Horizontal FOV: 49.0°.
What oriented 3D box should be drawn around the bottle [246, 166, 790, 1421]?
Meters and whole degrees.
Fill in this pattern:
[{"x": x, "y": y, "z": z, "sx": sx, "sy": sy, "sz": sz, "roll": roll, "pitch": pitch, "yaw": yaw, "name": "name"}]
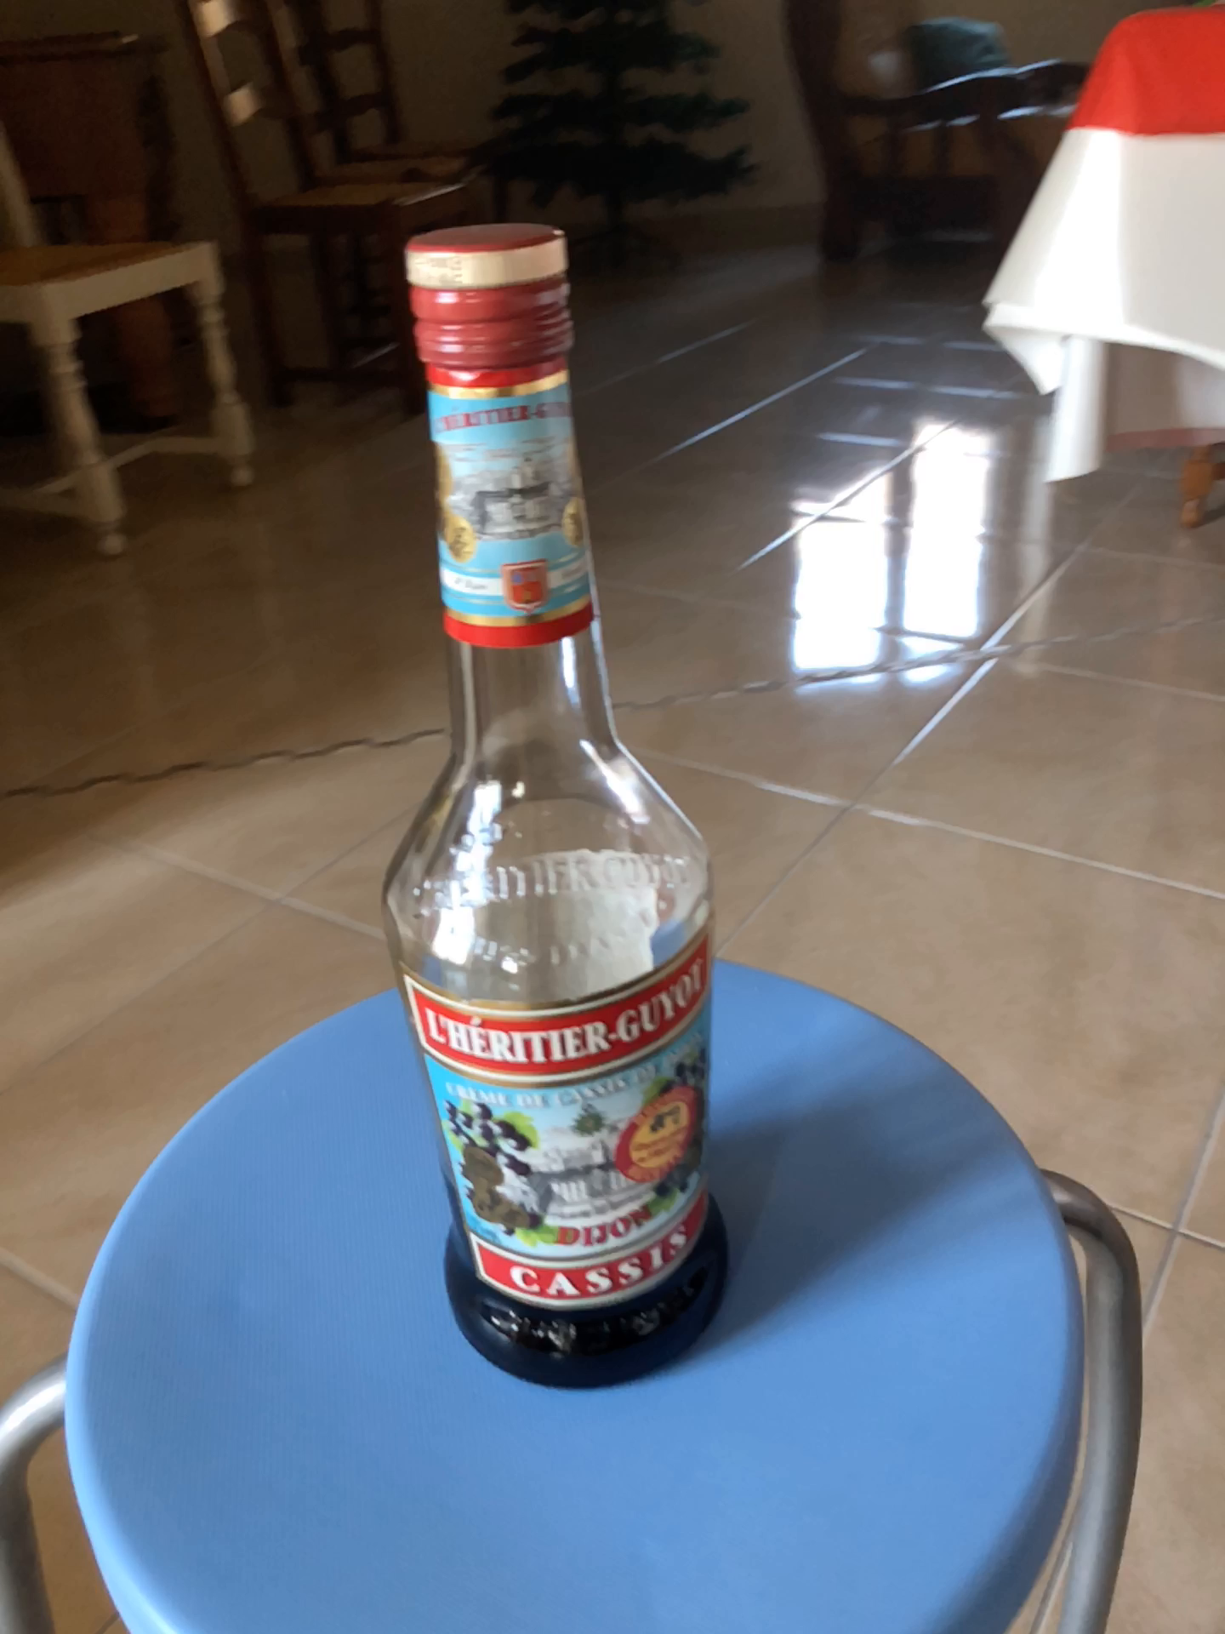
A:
[{"x": -0.011, "y": 0.009, "z": 0.335, "sx": 0.090, "sy": 0.298, "sz": 0.091, "roll": -3, "pitch": 30, "yaw": 2, "name": "bottle"}]
